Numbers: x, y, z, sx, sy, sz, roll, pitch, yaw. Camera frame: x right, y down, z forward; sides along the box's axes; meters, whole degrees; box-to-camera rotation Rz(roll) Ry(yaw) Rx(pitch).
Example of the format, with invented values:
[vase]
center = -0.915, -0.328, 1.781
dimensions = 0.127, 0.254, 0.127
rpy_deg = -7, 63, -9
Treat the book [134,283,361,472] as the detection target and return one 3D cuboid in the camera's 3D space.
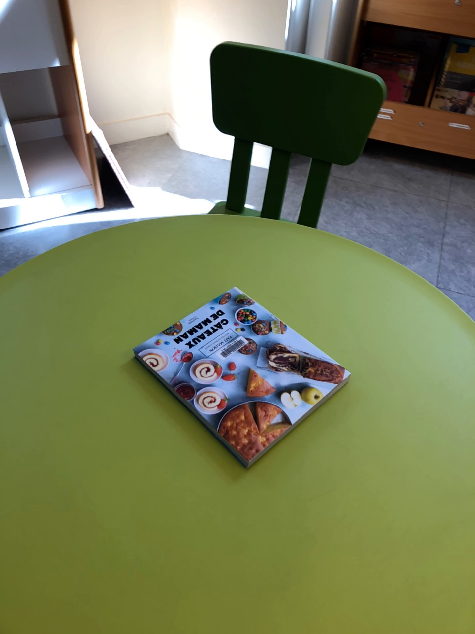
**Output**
[book]
center = 0.012, 0.063, 0.698
dimensions = 0.201, 0.021, 0.228
rpy_deg = -33, 56, -31
